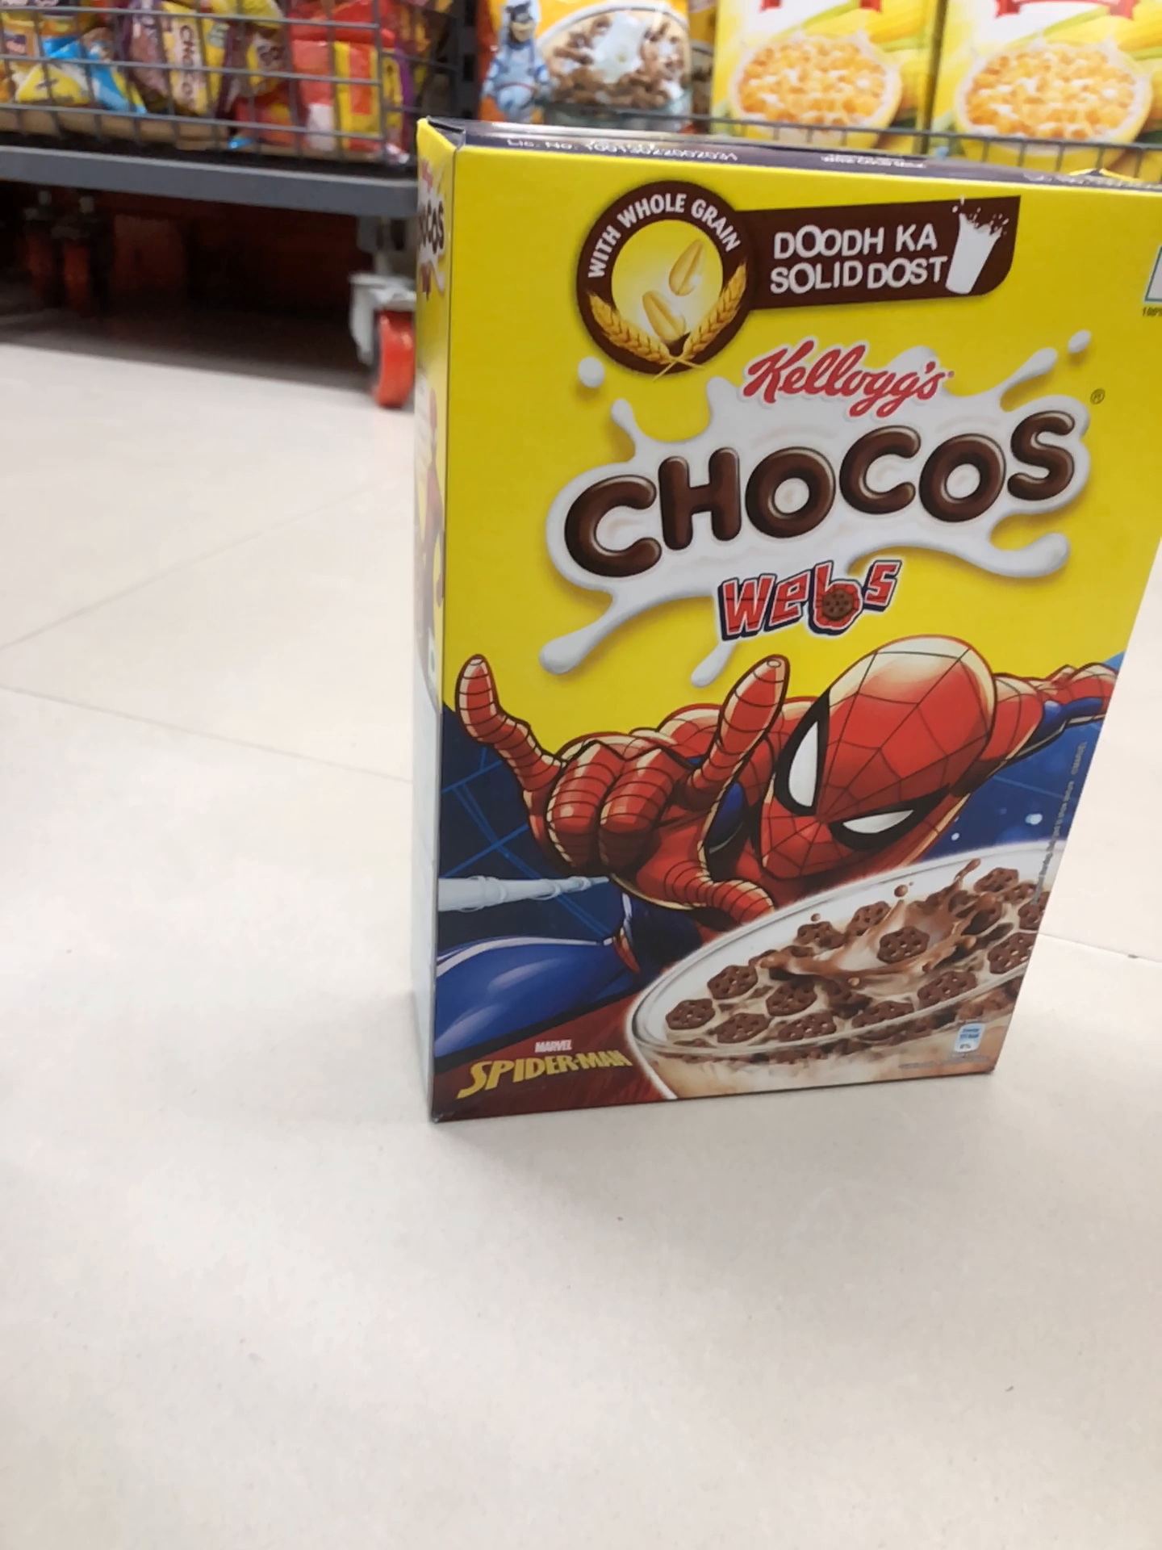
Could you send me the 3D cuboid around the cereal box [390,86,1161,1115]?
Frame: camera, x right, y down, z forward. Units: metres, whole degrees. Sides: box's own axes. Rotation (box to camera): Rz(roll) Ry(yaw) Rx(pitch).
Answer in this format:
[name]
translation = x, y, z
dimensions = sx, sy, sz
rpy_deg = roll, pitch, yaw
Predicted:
[cereal box]
translation = 0.050, -0.036, 0.326
dimensions = 0.190, 0.229, 0.080
rpy_deg = -2, 30, -12
